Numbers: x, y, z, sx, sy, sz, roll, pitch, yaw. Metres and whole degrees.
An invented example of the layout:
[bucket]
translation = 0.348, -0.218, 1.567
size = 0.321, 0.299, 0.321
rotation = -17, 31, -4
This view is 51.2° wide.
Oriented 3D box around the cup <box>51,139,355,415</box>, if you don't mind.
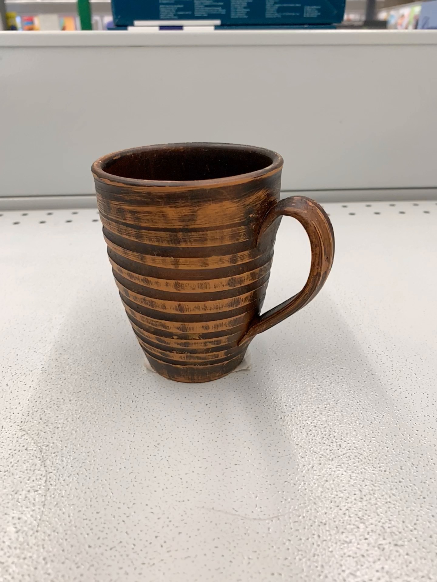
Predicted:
[cup]
translation = -0.001, -0.016, 0.217
size = 0.106, 0.089, 0.084
rotation = 11, 30, 21
